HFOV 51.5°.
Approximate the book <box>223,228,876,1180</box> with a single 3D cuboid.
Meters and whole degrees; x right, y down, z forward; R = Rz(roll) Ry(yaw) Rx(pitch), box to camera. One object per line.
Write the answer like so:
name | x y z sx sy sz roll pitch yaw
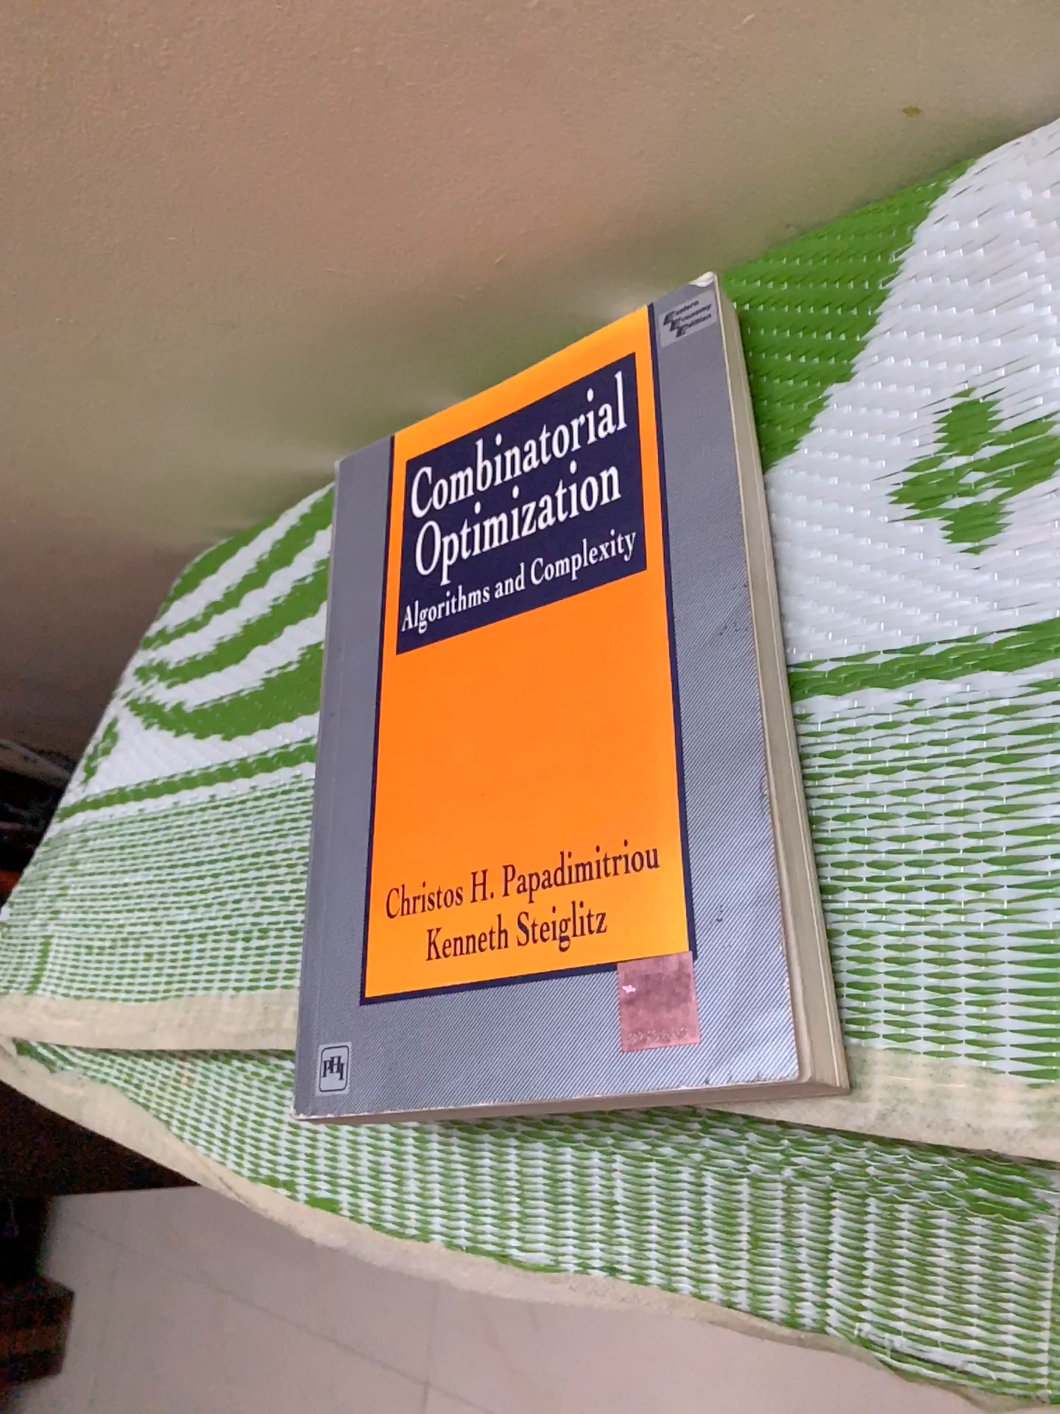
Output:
book | -0.001 -0.004 0.342 0.171 0.040 0.271 -17 57 30
